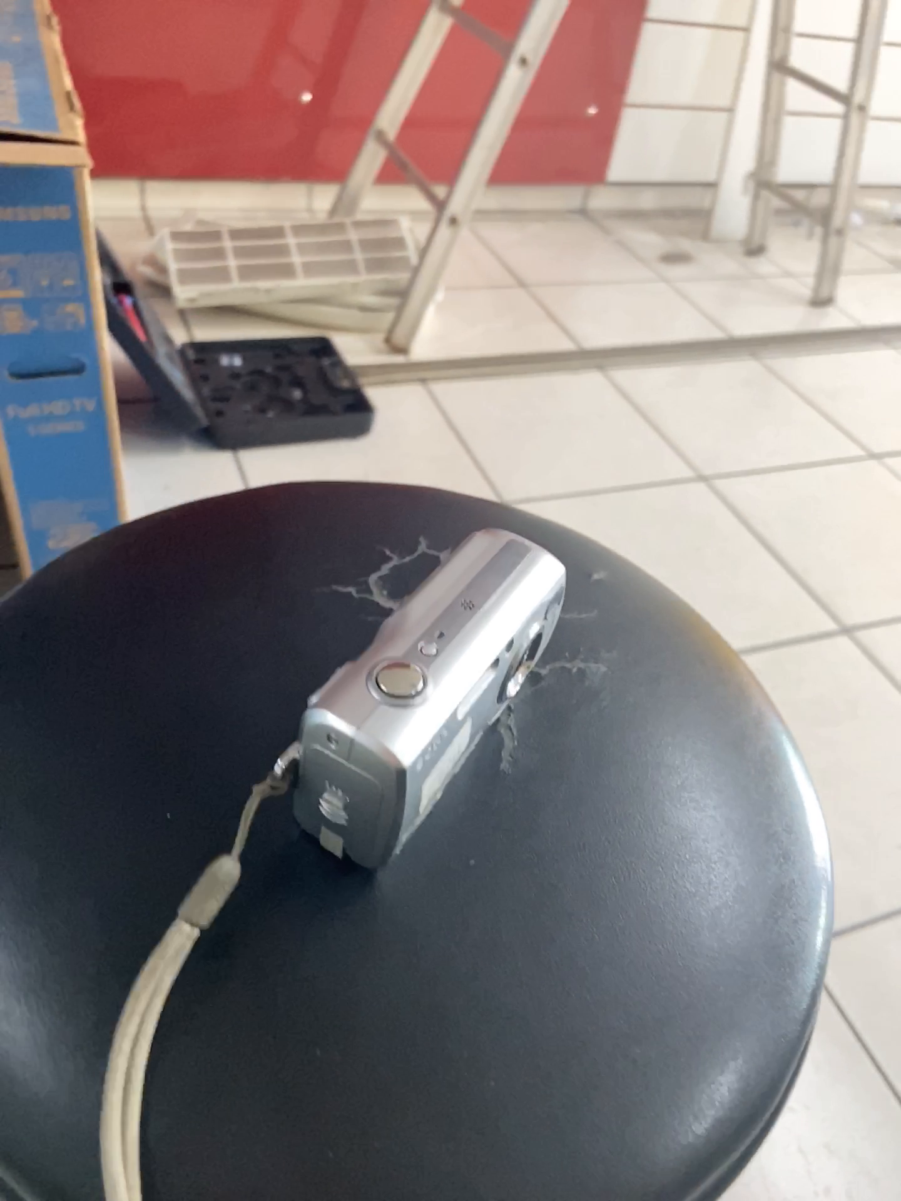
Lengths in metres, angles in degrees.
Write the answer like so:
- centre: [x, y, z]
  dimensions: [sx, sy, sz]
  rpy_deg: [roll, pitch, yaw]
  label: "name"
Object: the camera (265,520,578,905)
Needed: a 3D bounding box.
- centre: [-0.006, 0.028, 0.272]
  dimensions: [0.040, 0.050, 0.101]
  rpy_deg: [26, 43, 17]
  label: "camera"
